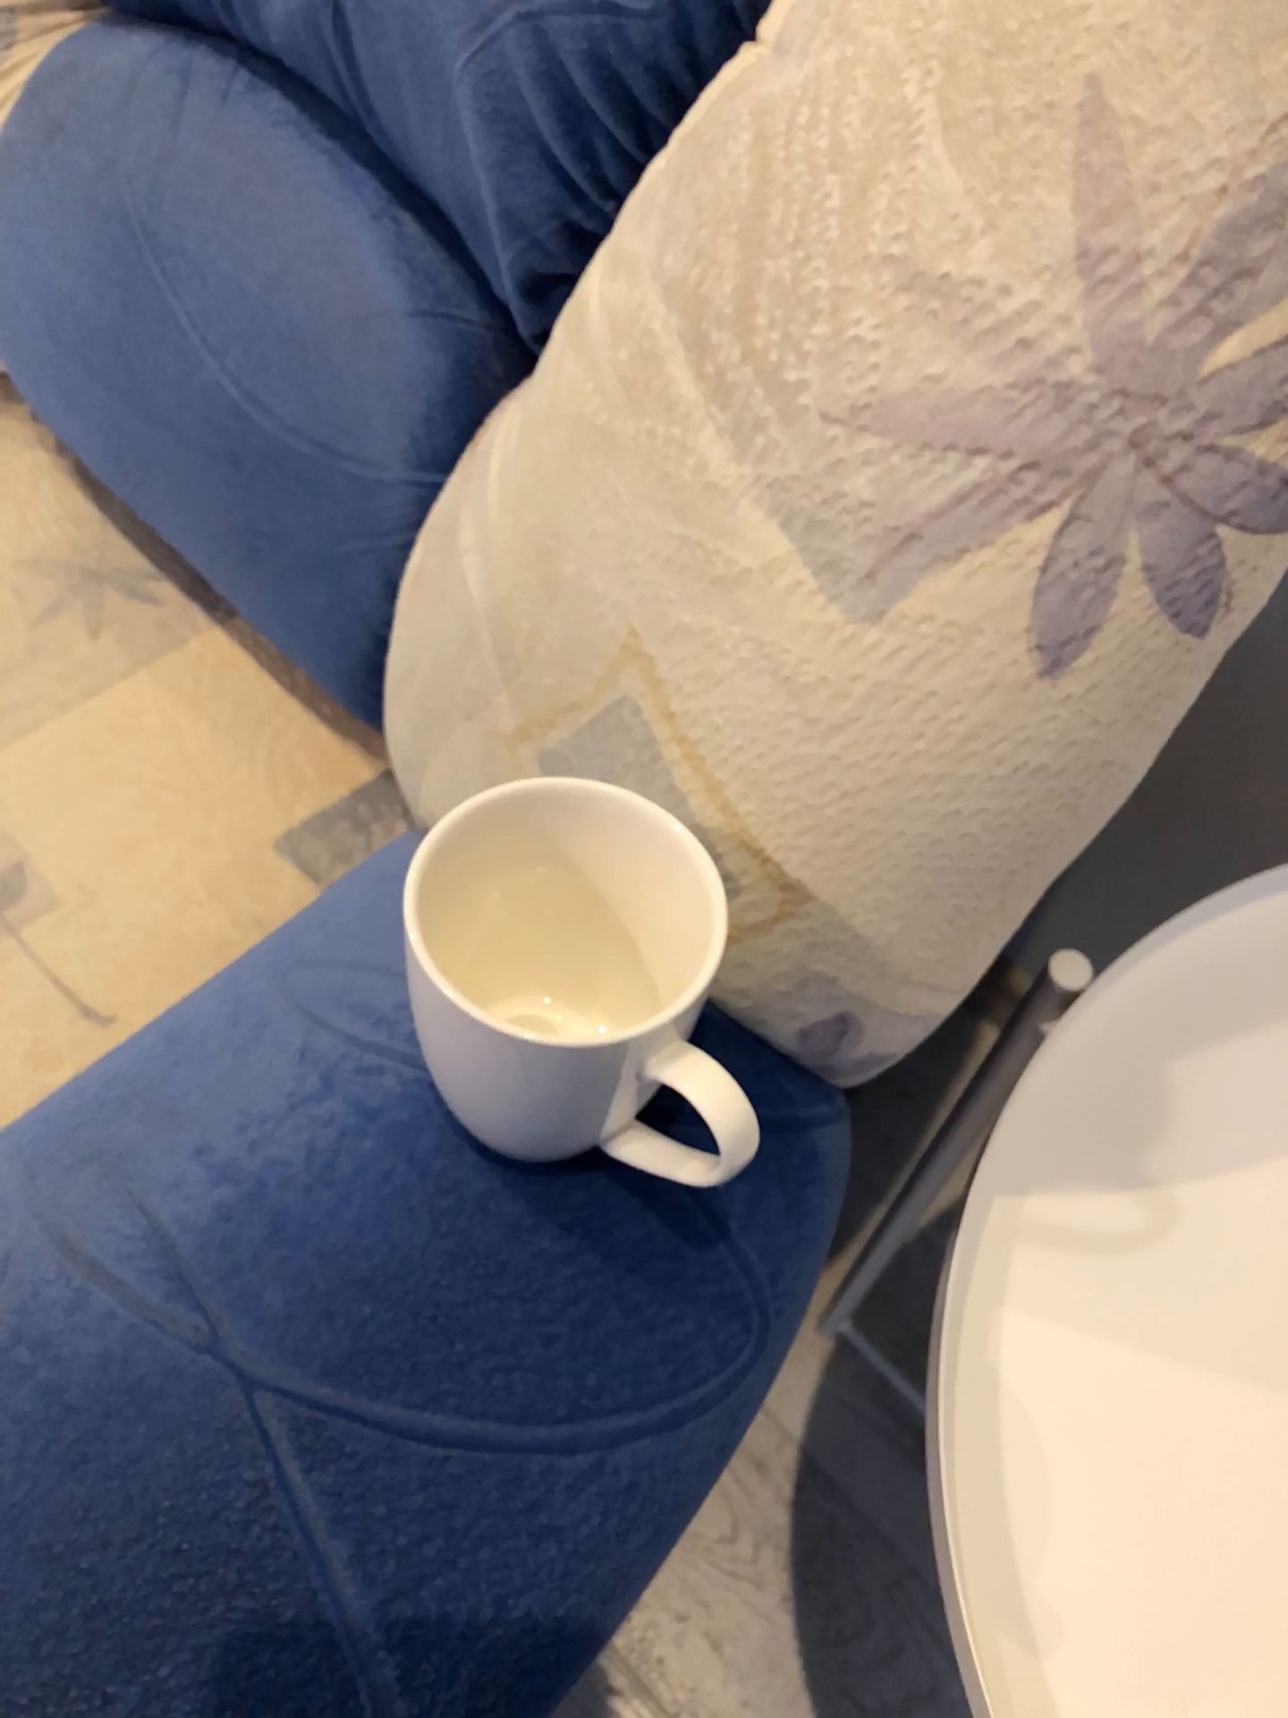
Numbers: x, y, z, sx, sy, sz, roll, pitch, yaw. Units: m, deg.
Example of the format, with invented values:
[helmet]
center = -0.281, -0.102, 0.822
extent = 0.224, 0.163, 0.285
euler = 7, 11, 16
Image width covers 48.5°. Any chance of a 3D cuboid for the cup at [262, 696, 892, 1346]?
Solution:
[cup]
center = -0.017, 0.038, 0.341
extent = 0.110, 0.080, 0.080
euler = 35, 60, 17
